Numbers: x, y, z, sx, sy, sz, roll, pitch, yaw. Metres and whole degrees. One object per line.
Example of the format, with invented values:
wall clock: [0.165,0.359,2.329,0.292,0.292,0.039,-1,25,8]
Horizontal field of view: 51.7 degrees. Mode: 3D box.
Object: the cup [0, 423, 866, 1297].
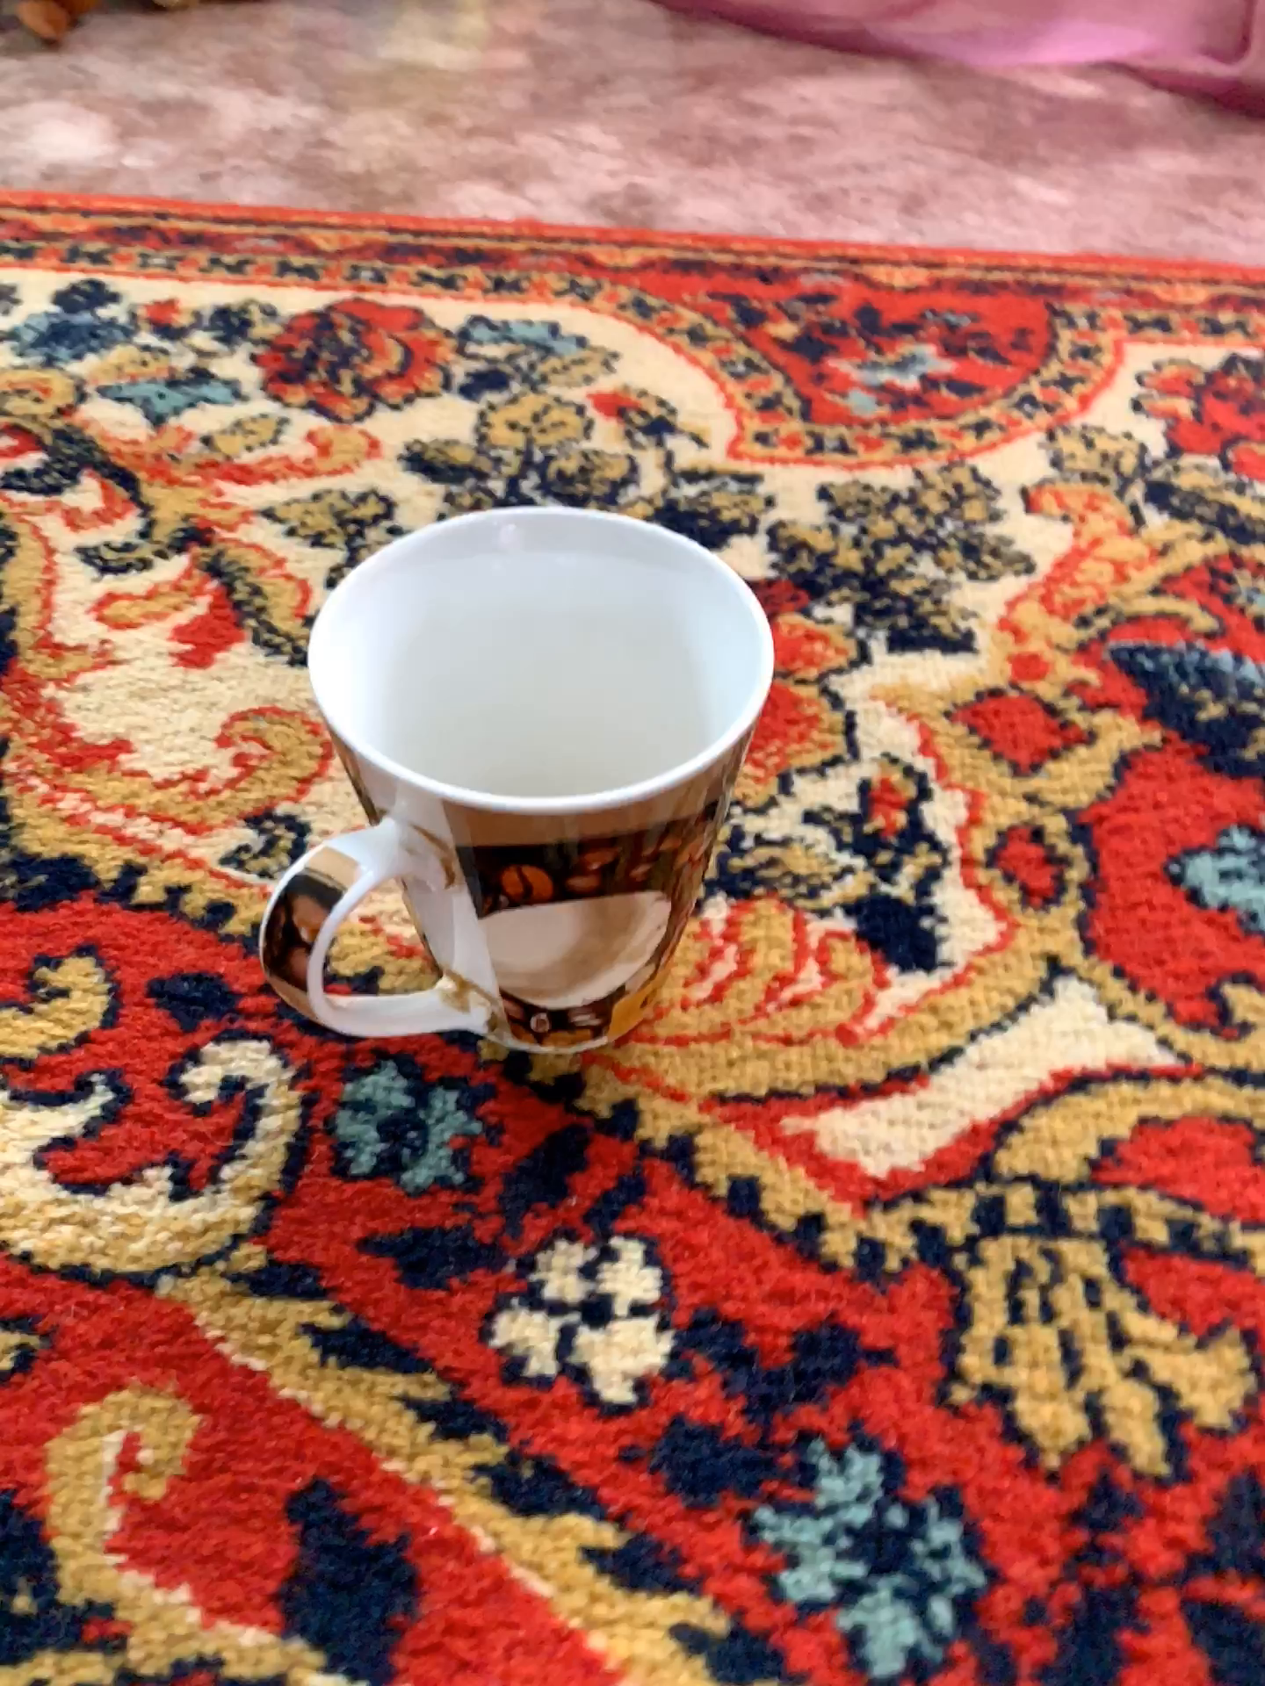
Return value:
cup: [-0.028,-0.004,0.230,0.080,0.079,0.111,31,52,25]
